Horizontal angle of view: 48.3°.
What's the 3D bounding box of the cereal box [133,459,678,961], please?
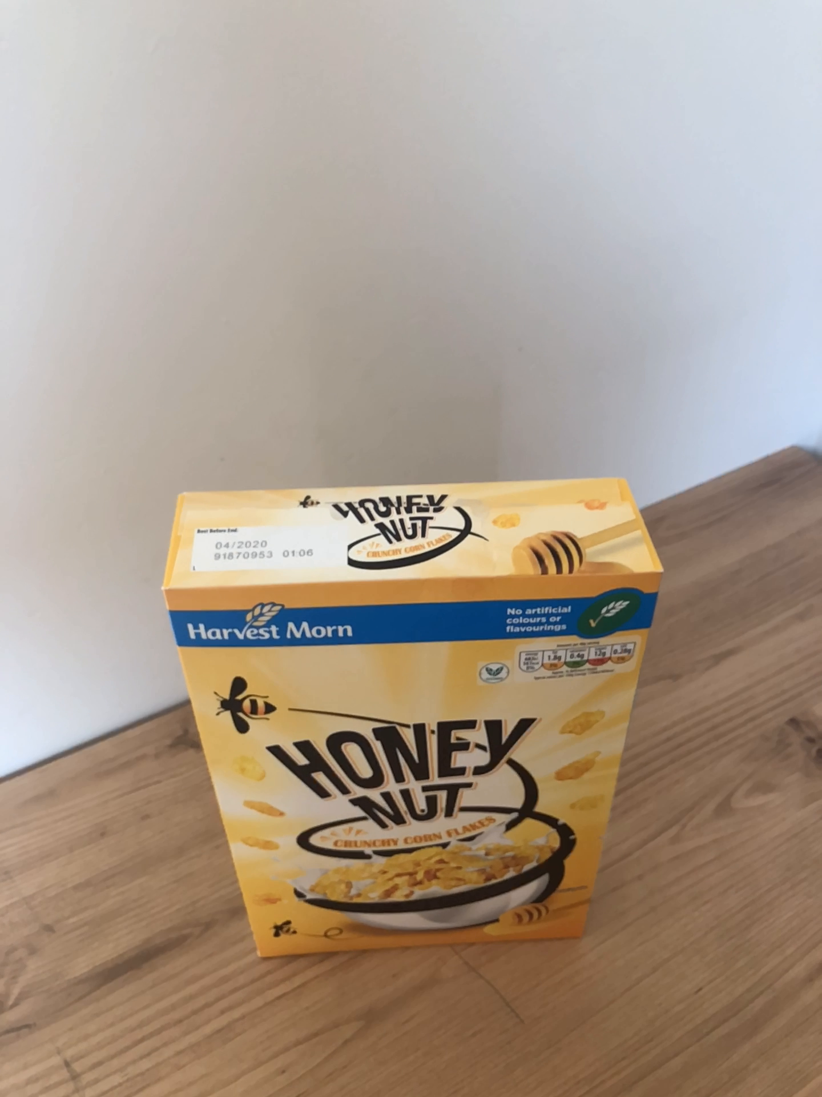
[{"bbox_3d":[0.000,0.100,0.457,0.200,0.298,0.060,-3,41,-2],"label":"cereal box"}]
